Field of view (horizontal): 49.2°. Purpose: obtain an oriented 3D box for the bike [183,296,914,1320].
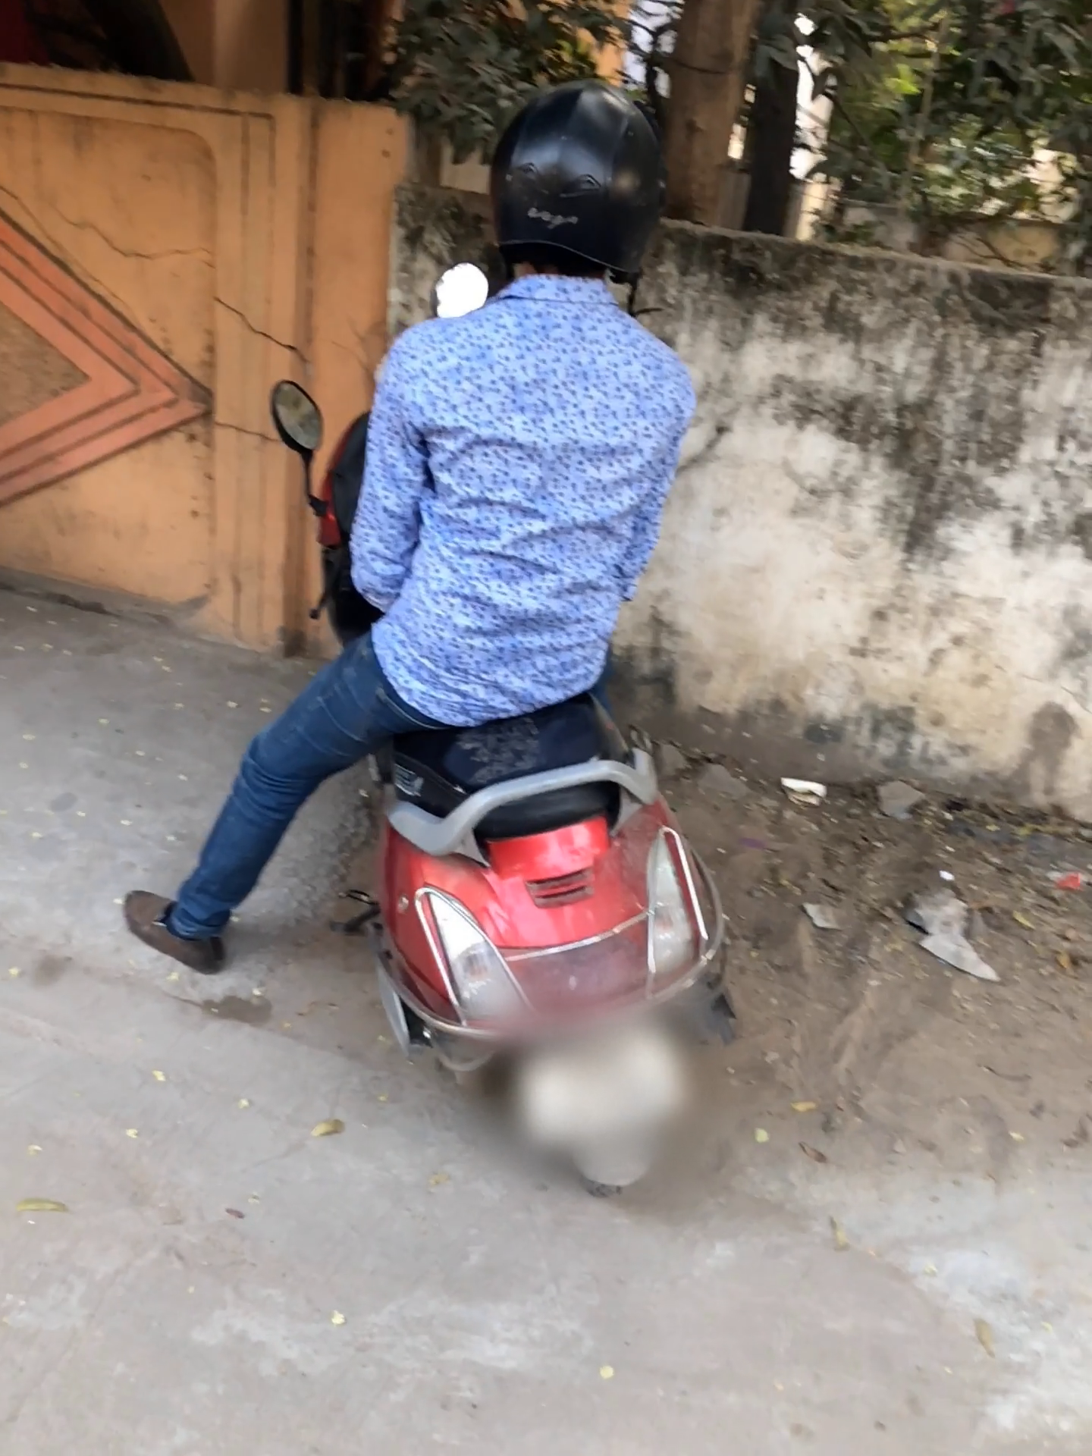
[{"bbox_3d":[-0.212,-0.021,2.253,0.723,1.165,1.508,-3,29,-22],"label":"bike"}]
